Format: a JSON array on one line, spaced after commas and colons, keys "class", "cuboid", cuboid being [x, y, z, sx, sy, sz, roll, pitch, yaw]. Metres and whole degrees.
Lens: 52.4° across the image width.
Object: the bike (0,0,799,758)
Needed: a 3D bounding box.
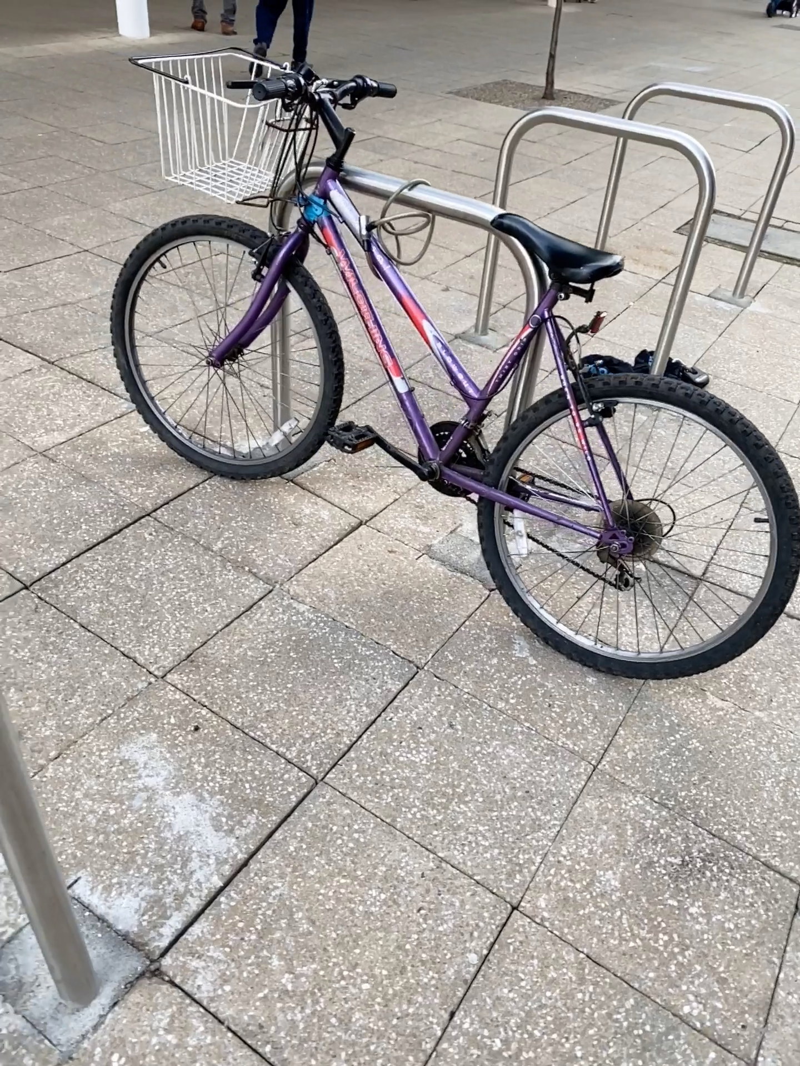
[{"class": "bike", "cuboid": [0.076, -0.434, 1.817, 1.735, 1.042, 0.584, 23, 41, 19]}]
